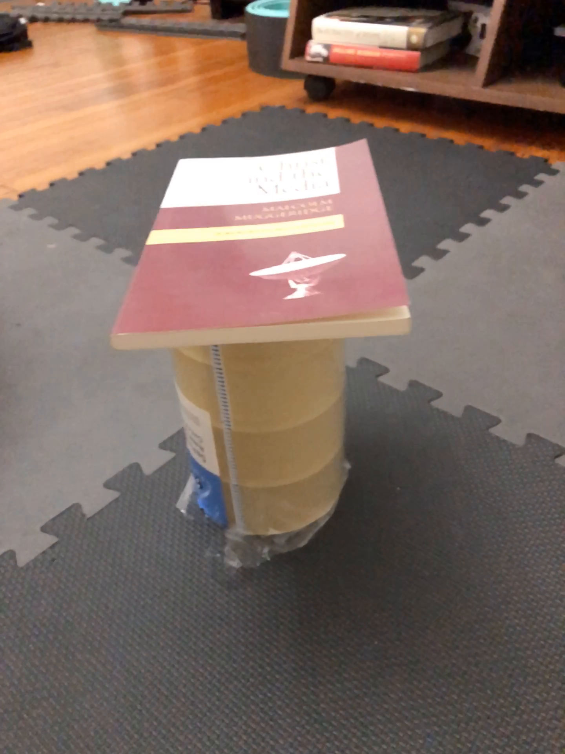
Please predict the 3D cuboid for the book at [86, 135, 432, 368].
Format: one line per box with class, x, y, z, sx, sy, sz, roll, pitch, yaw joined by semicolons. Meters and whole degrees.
book;-0.011;-0.082;0.341;0.140;0.020;0.211;-3;39;1
